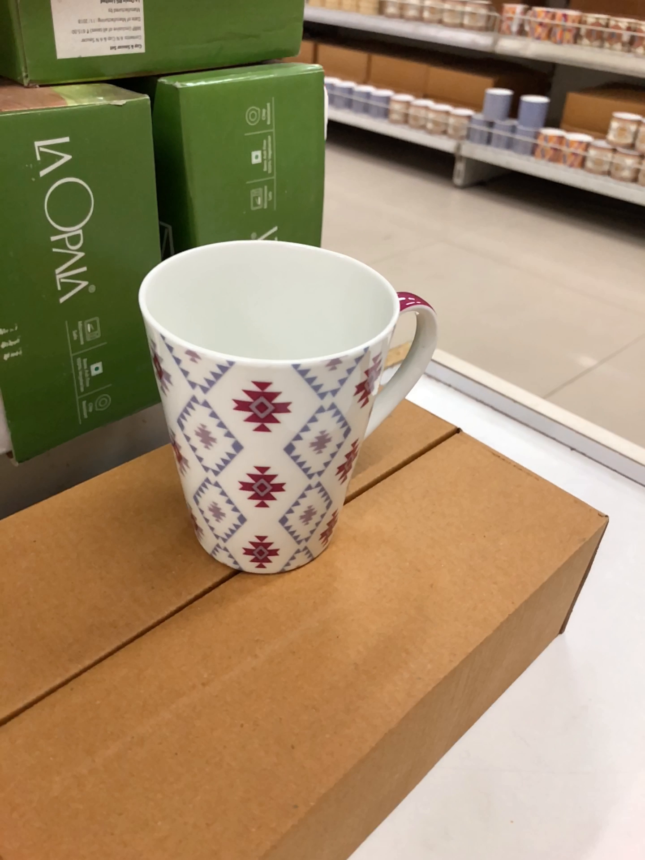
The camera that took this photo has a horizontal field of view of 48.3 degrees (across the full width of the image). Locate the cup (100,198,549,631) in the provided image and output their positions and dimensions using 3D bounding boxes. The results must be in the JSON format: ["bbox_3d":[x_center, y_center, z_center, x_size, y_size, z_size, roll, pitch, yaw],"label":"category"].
[{"bbox_3d":[-0.001,-0.014,0.258,0.121,0.099,0.080,-20,41,-30],"label":"cup"}]
